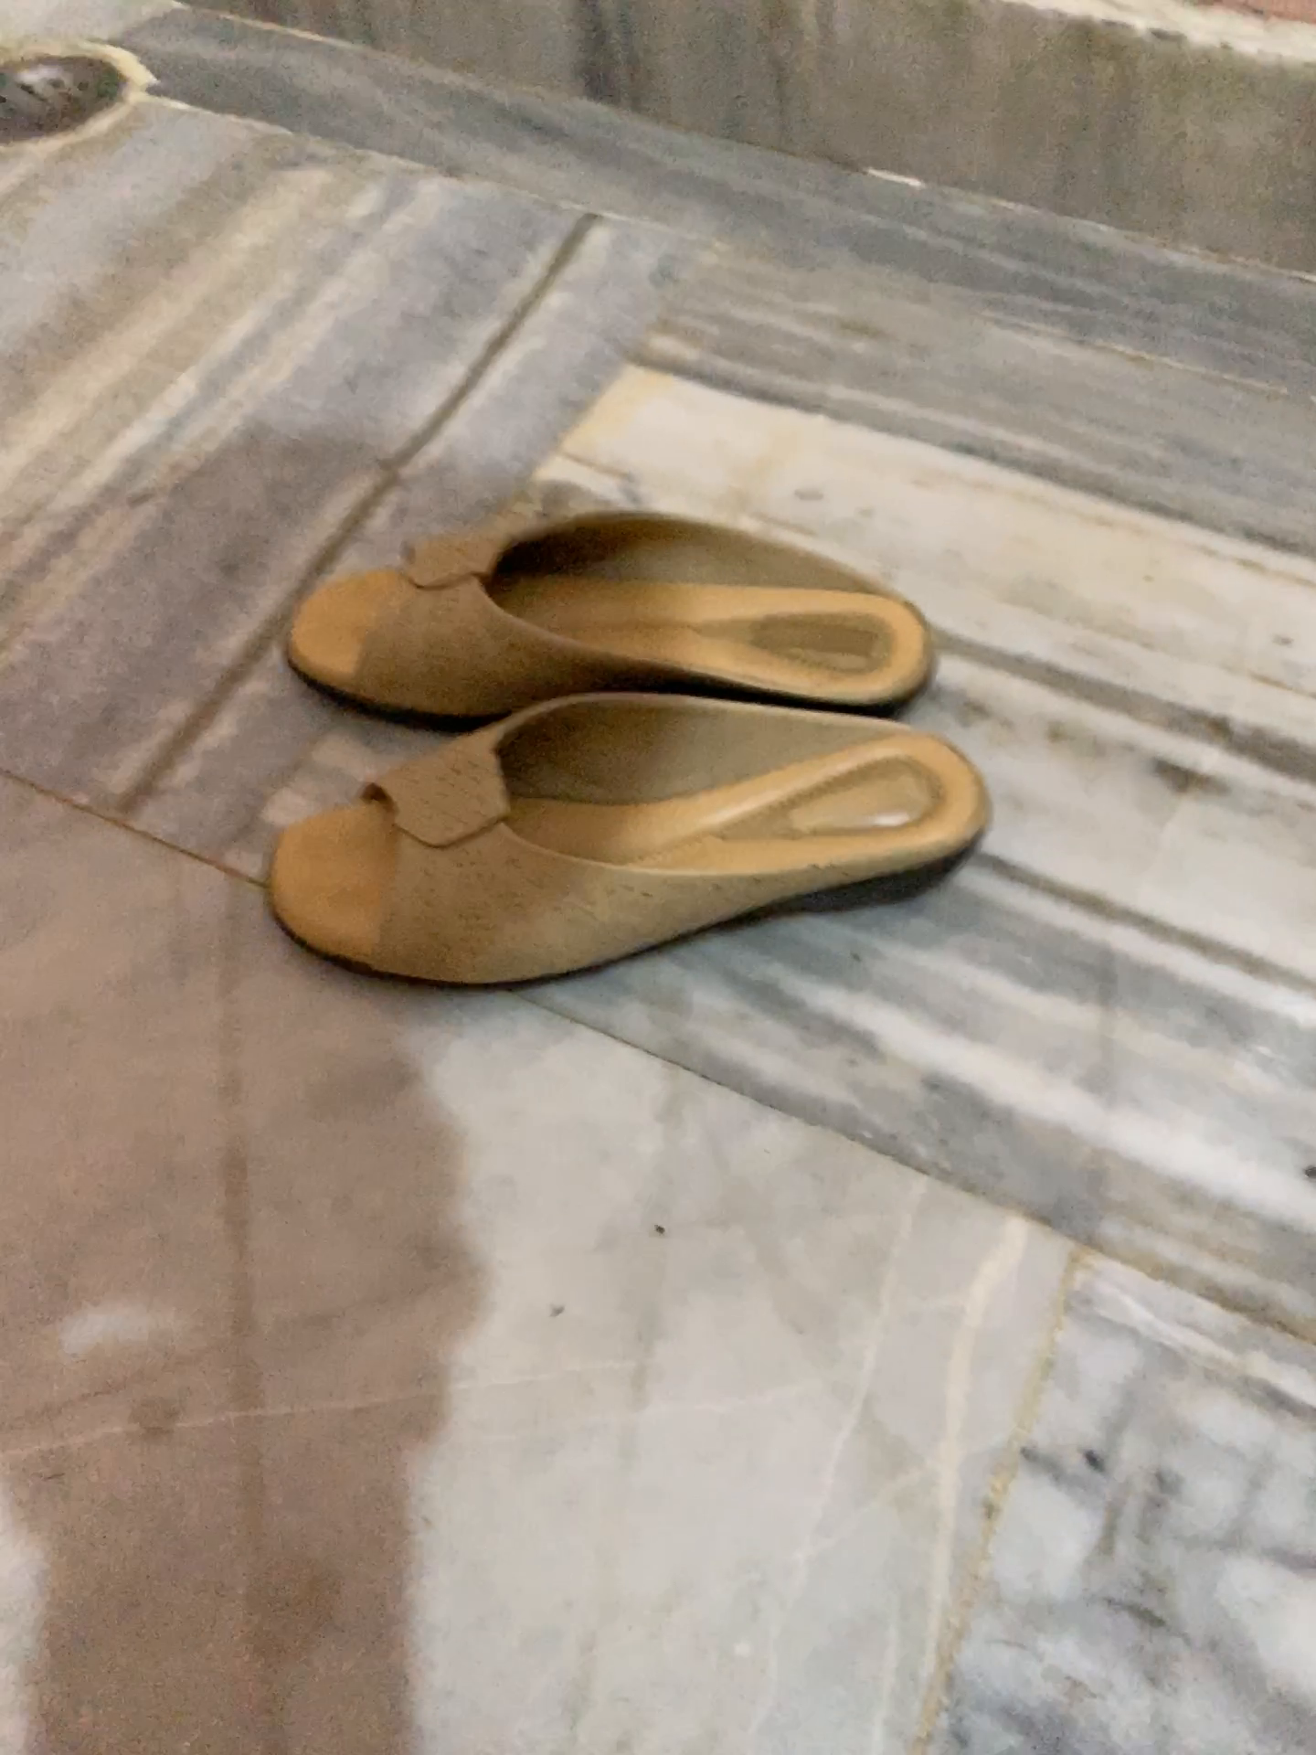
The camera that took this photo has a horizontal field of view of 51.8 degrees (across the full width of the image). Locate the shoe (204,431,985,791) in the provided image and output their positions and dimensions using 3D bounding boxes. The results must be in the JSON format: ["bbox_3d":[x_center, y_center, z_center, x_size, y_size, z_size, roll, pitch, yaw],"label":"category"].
[{"bbox_3d":[-0.019,-0.104,0.526,0.274,0.070,0.095,5,56,4],"label":"shoe"}]

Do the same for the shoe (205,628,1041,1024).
[{"bbox_3d":[-0.014,-0.019,0.475,0.260,0.070,0.095,-5,56,-3],"label":"shoe"}]
